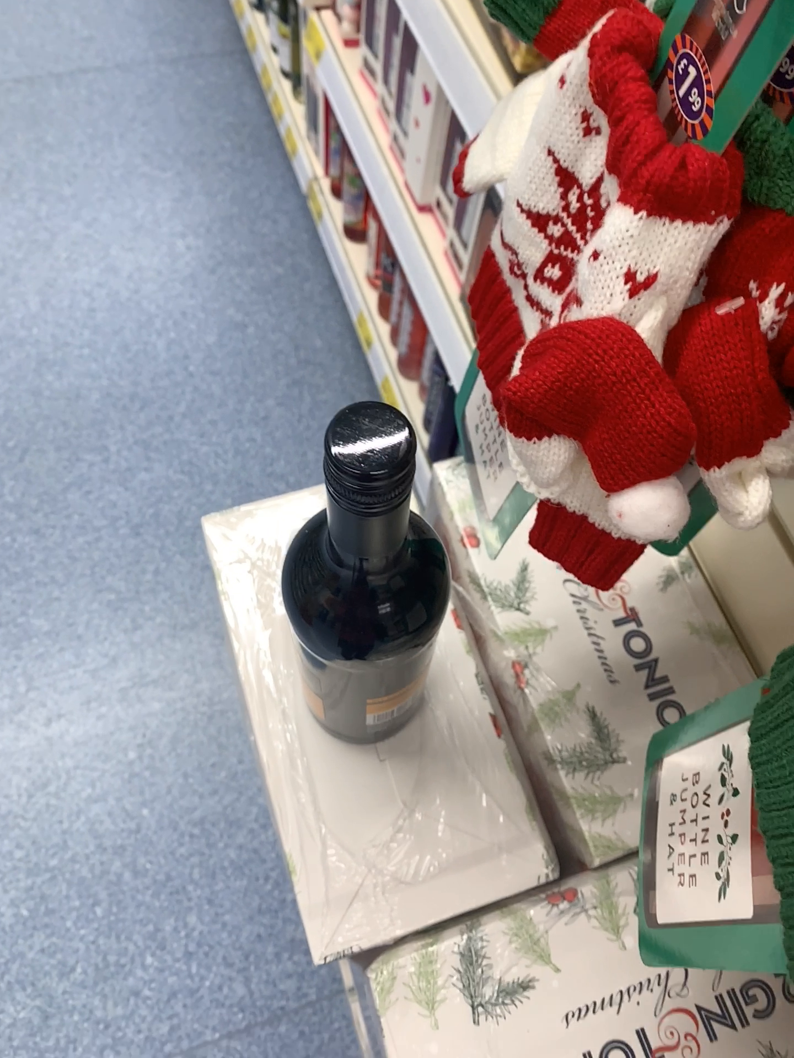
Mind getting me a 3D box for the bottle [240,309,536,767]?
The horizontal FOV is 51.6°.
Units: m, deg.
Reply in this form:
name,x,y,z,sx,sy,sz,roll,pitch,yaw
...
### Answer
name,x,y,z,sx,sy,sz,roll,pitch,yaw
bottle,-0.012,0.035,0.380,0.074,0.289,0.078,2,63,-4
